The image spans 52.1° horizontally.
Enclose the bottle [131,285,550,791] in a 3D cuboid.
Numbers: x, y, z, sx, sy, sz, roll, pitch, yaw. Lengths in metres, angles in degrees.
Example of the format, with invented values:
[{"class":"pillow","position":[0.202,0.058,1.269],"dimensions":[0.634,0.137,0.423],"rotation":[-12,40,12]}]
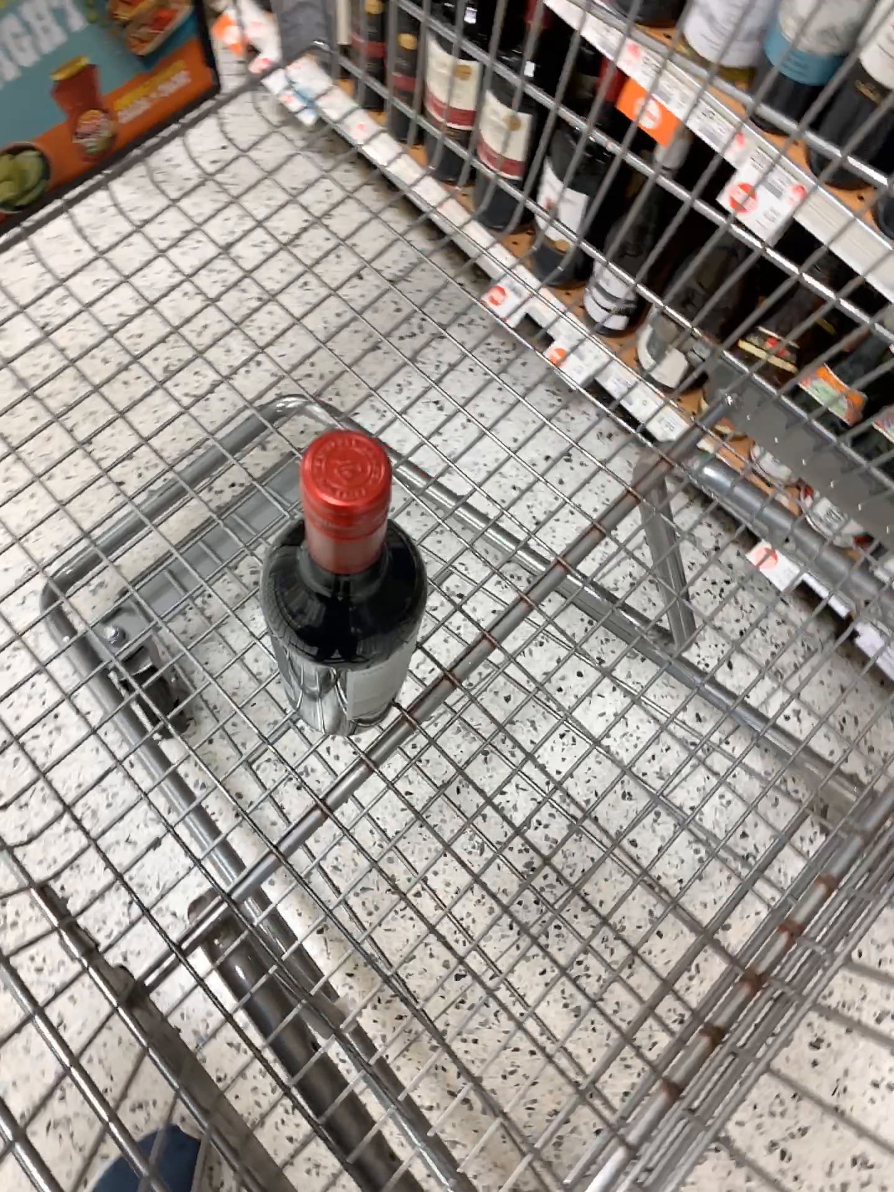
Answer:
[{"class":"bottle","position":[-0.045,0.008,0.468],"dimensions":[0.100,0.338,0.100],"rotation":[1,71,-3]}]
